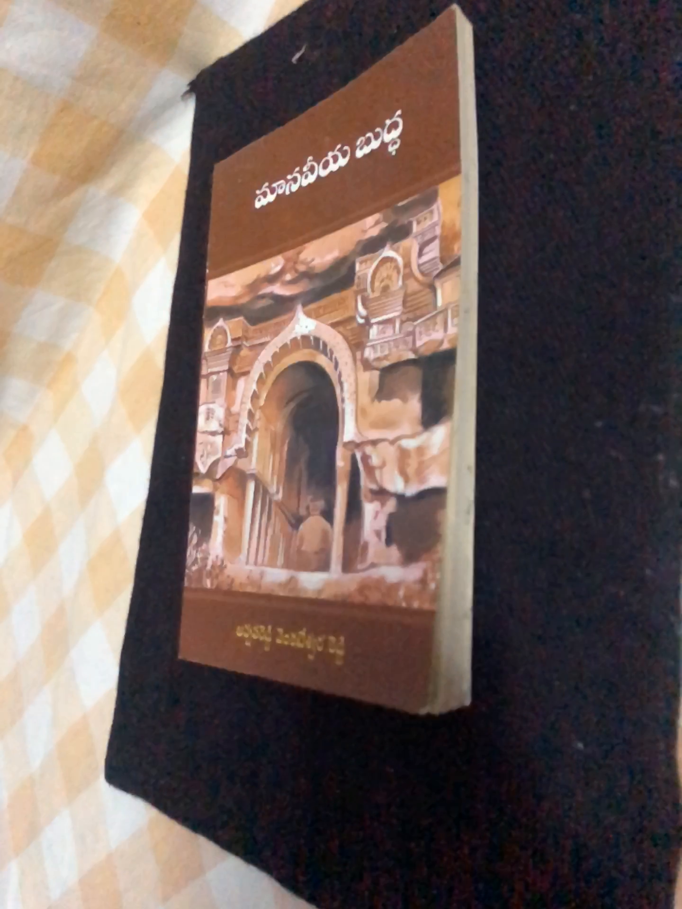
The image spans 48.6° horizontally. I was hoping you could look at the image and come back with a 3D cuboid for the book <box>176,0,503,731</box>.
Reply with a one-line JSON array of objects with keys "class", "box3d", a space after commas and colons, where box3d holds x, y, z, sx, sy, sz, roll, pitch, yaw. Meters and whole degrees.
[{"class": "book", "box3d": [-0.006, -0.033, 0.275, 0.140, 0.020, 0.230, -8, 76, 48]}]
